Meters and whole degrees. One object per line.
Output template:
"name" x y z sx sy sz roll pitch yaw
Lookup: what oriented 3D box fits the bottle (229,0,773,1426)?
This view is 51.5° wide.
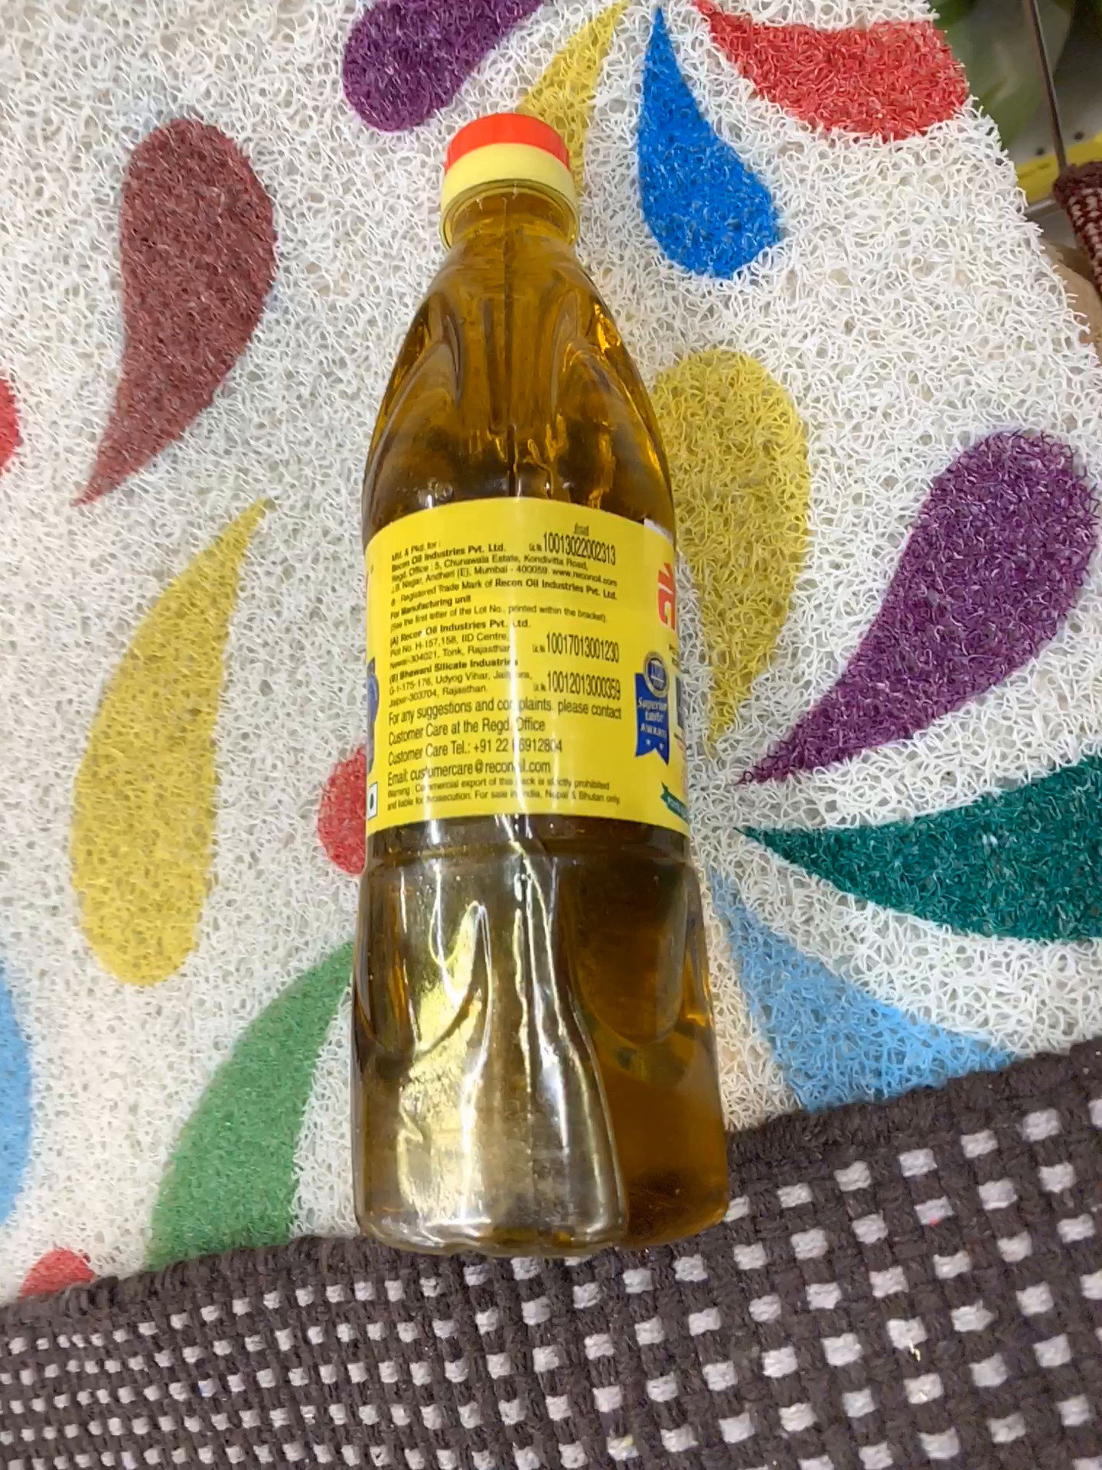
"bottle" -0.005 -0.007 0.193 0.070 0.060 0.200 -4 81 14
